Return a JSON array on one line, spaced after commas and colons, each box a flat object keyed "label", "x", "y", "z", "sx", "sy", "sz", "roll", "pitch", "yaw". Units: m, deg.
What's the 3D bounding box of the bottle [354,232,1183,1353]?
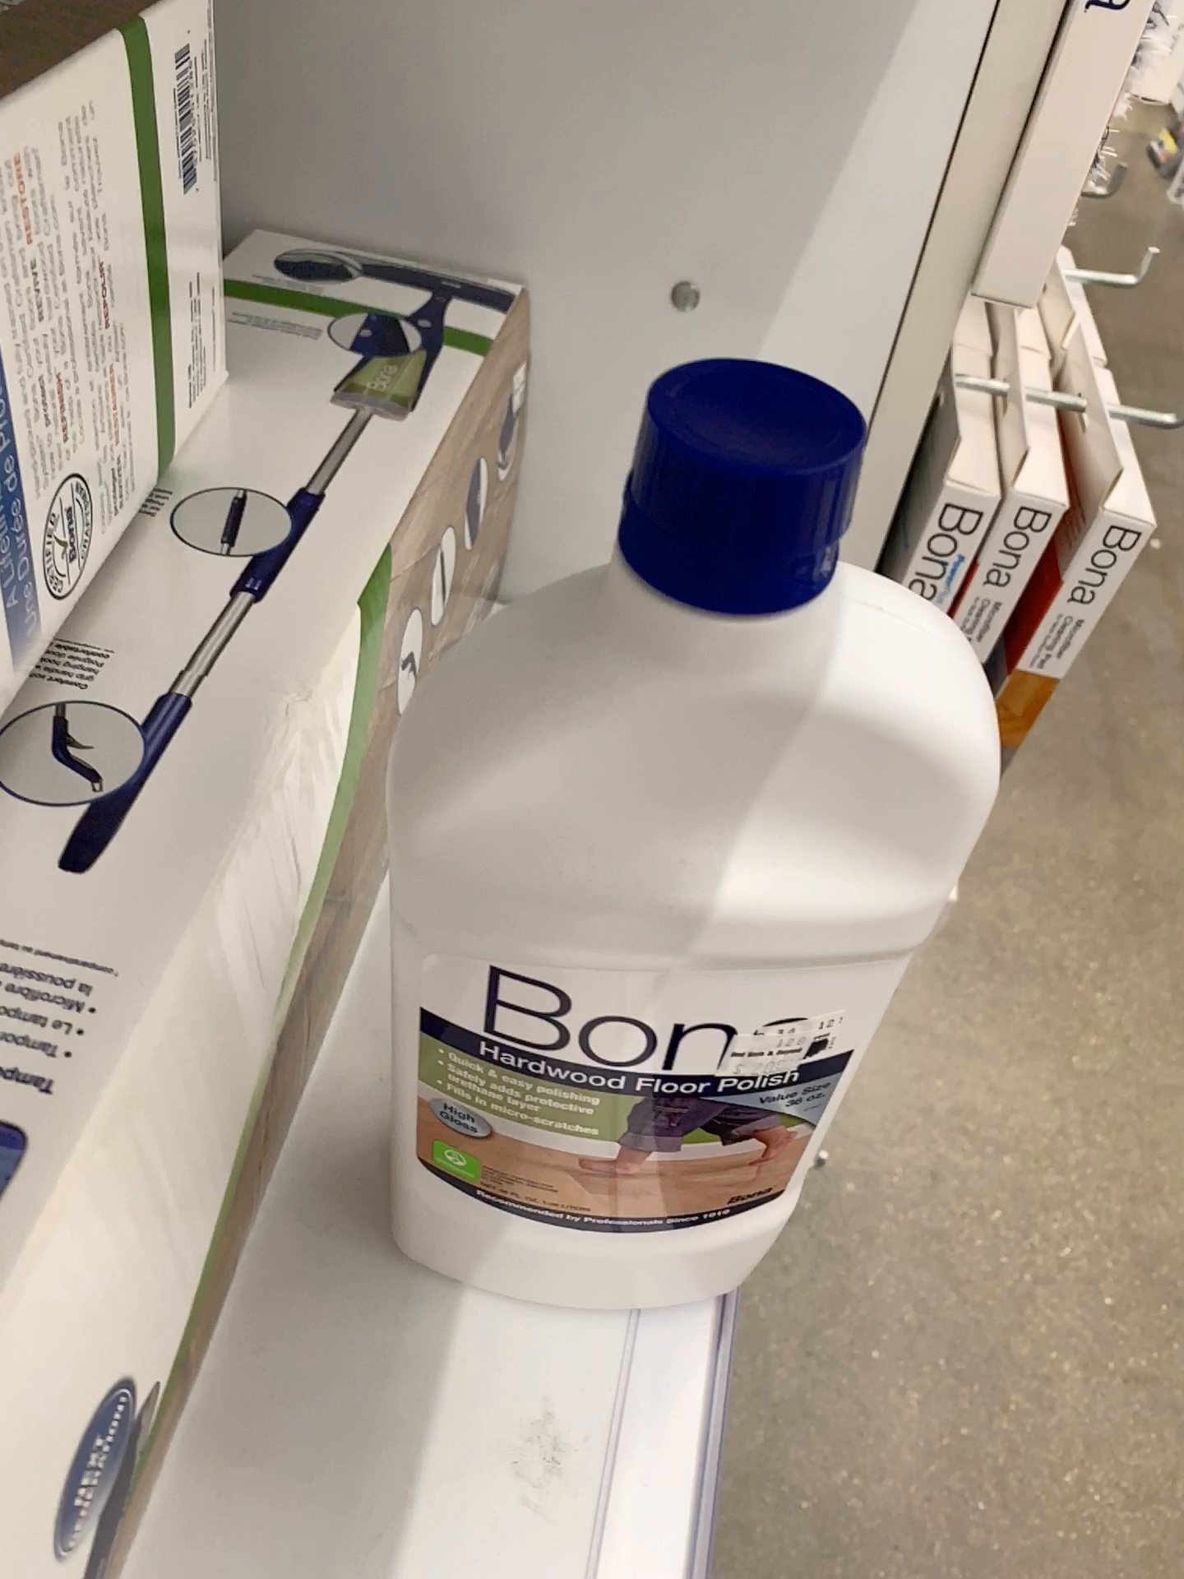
[{"label": "bottle", "x": 0.015, "y": 0.033, "z": 0.264, "sx": 0.120, "sy": 0.259, "sz": 0.070, "roll": 5, "pitch": 45, "yaw": -5}]
